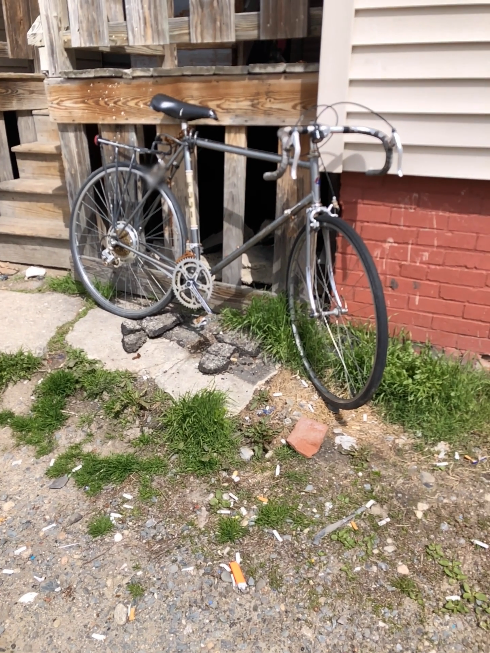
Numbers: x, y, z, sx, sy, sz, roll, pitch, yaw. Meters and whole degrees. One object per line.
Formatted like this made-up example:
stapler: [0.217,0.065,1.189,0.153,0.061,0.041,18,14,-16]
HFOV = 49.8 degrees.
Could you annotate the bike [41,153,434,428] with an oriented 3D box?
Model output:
bike: [-0.095,-0.217,1.619,1.202,0.479,0.400,19,29,35]
